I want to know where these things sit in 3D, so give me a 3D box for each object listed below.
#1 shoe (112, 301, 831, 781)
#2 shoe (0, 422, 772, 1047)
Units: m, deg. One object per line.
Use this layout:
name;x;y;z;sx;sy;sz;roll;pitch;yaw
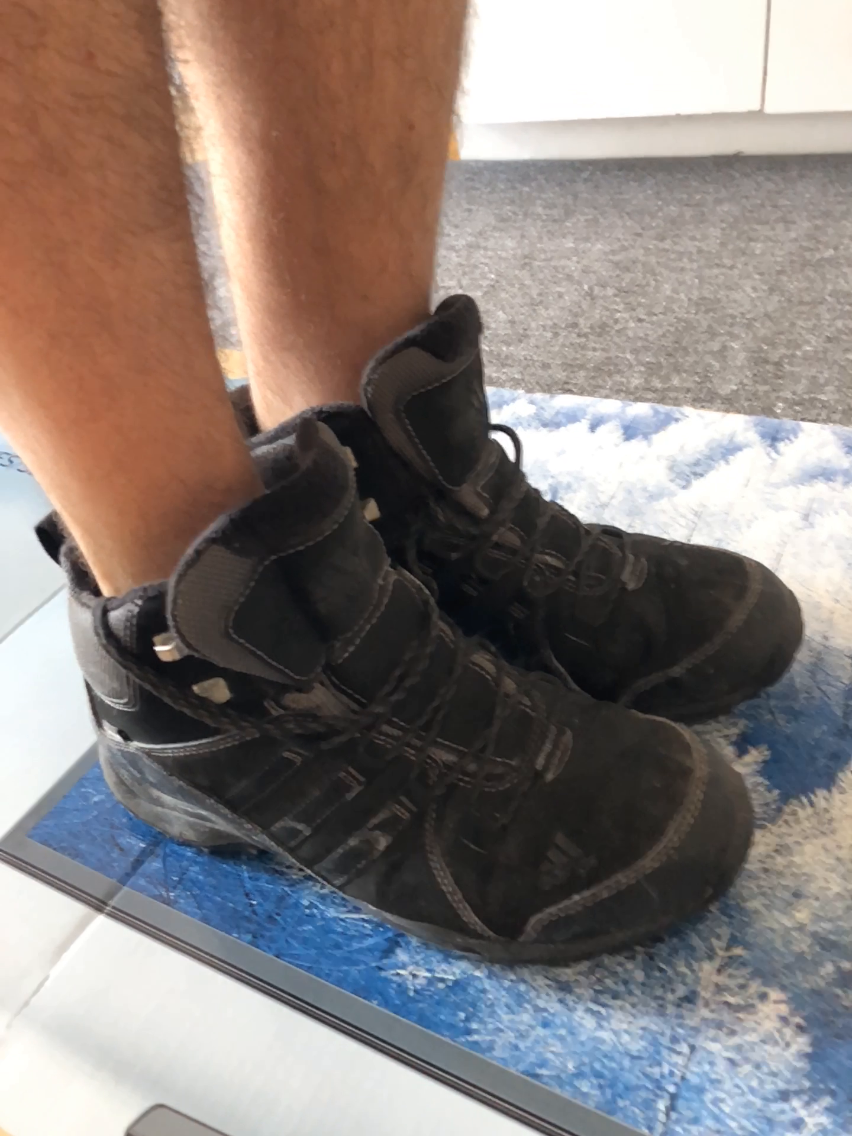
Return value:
shoe;0.028;-0.020;0.440;0.280;0.169;0.111;5;40;19
shoe;-0.026;0.051;0.355;0.280;0.169;0.111;5;40;19
